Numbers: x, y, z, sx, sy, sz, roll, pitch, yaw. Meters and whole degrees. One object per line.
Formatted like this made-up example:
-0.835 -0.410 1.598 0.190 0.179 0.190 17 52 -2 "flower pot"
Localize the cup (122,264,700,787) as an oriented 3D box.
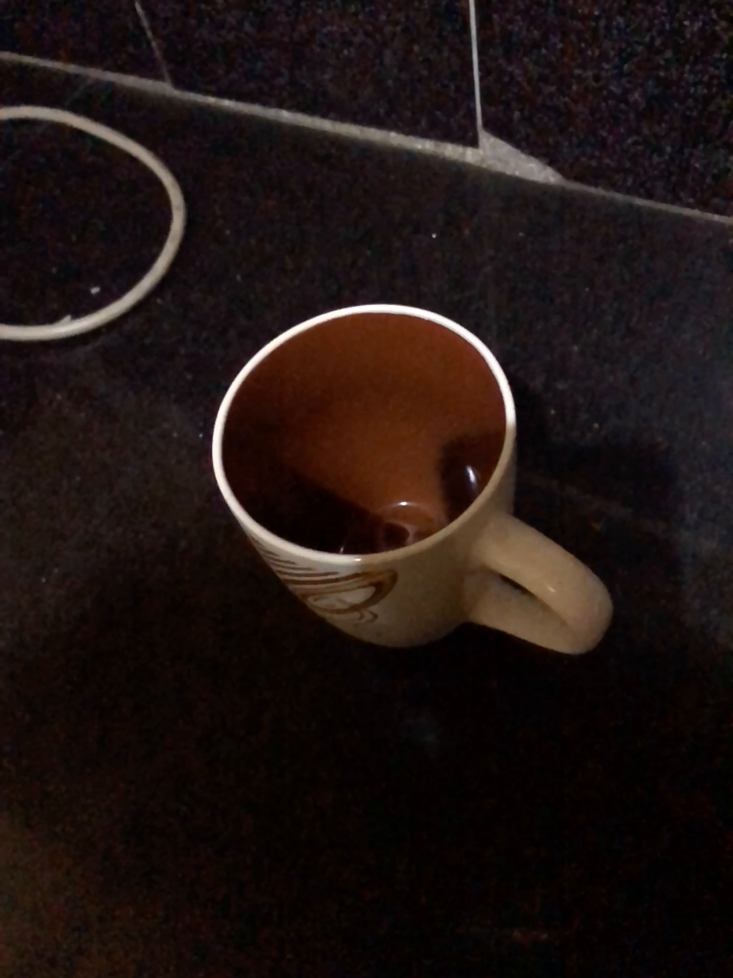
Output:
0.017 0.011 0.247 0.120 0.090 0.090 22 67 22 "cup"
